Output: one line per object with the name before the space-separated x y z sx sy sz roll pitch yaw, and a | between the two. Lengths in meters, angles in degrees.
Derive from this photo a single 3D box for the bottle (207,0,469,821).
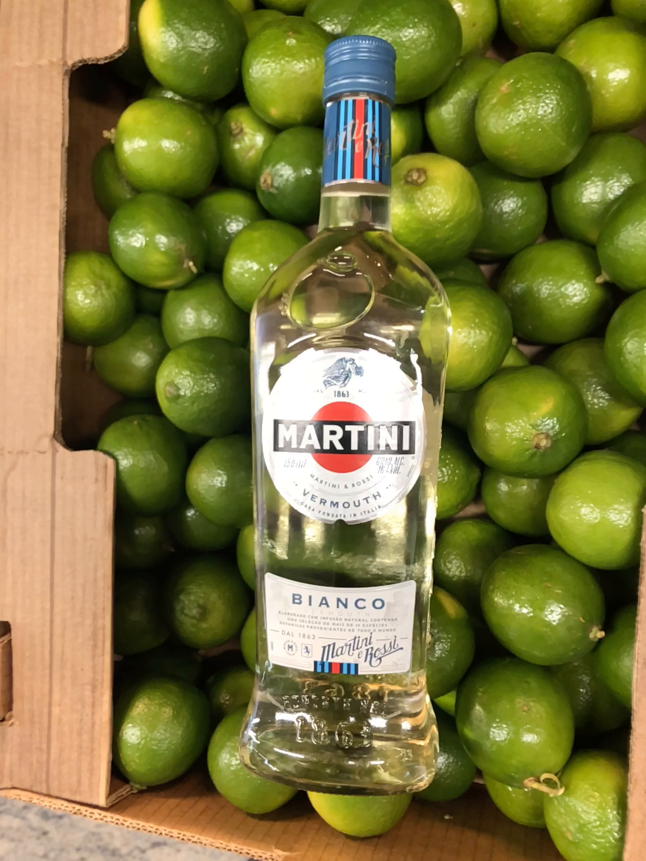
bottle | 0.009 -0.013 0.308 0.100 0.050 0.320 1 89 12
